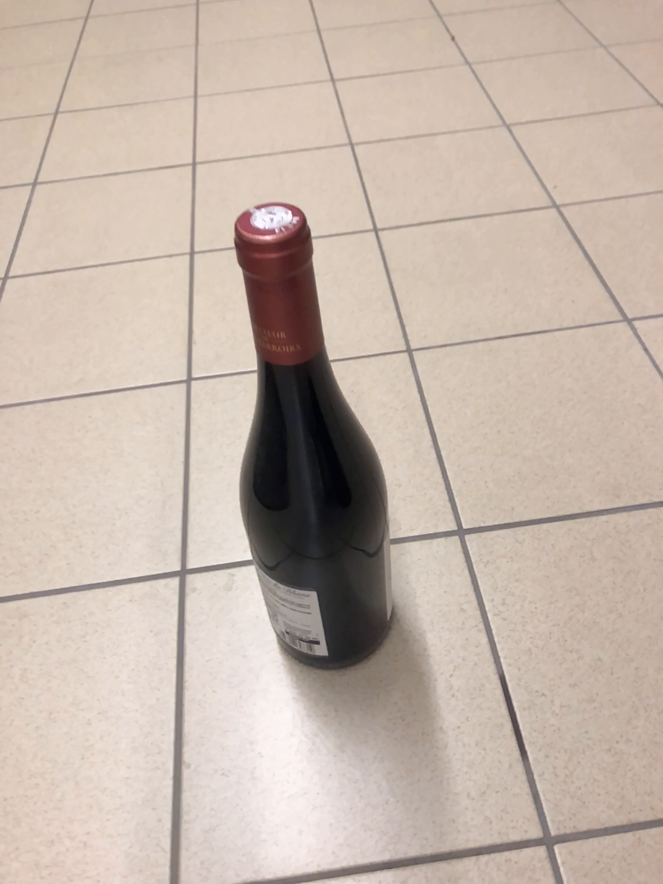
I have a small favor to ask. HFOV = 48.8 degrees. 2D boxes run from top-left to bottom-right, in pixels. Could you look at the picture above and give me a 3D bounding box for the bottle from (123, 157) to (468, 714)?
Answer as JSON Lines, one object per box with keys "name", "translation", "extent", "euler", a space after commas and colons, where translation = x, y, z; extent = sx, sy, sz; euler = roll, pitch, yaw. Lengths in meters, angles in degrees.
{"name": "bottle", "translation": [-0.005, 0.019, 0.362], "extent": [0.090, 0.268, 0.090], "euler": [-3, 48, 3]}
